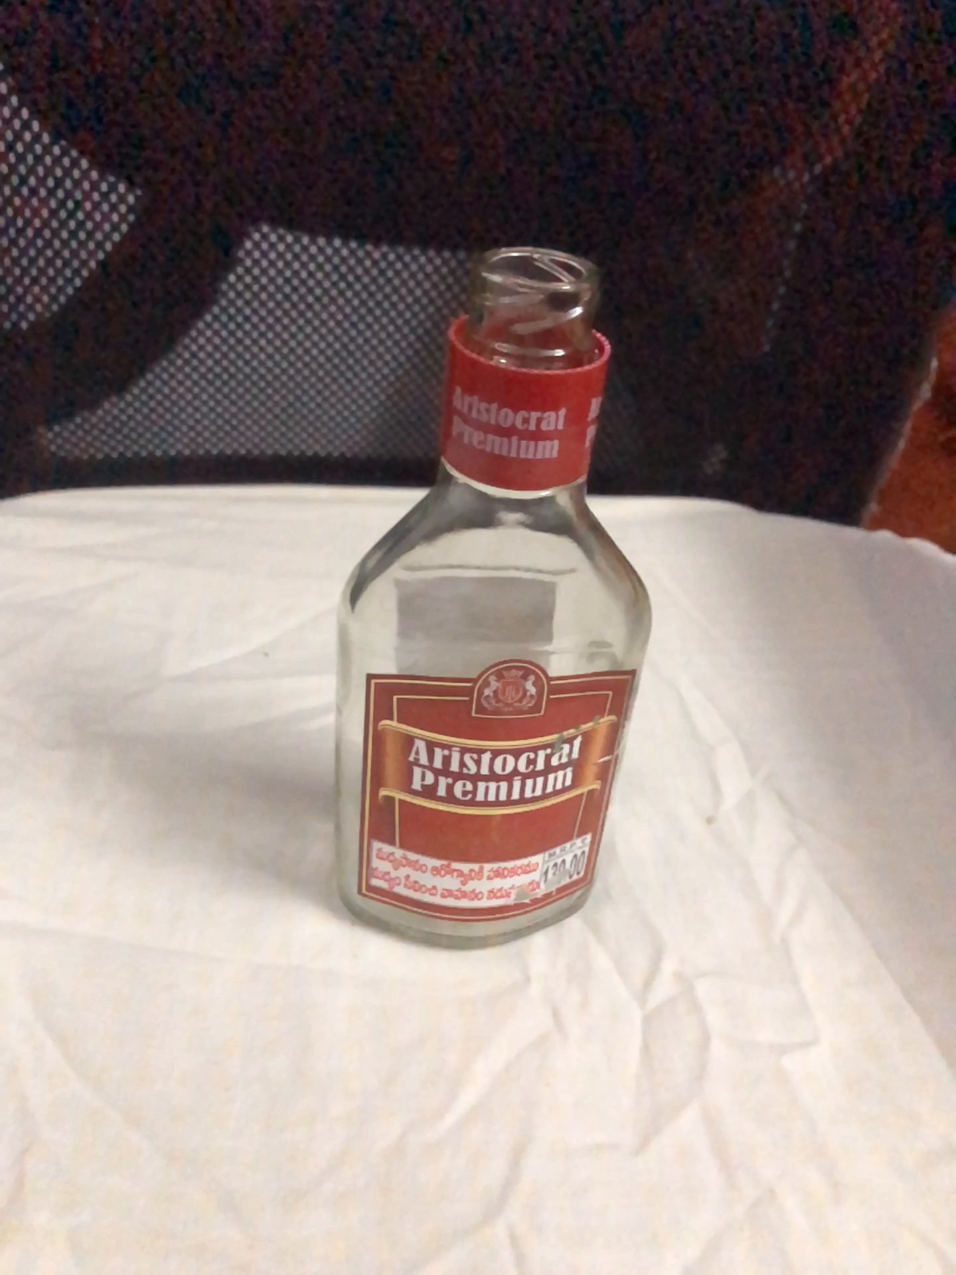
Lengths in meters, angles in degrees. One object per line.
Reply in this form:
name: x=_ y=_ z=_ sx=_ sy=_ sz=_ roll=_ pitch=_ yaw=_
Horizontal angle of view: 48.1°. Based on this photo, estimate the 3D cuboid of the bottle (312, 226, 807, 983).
bottle: x=0.005 y=0.006 z=0.247 sx=0.080 sy=0.179 sz=0.040 roll=1 pitch=37 yaw=-10
